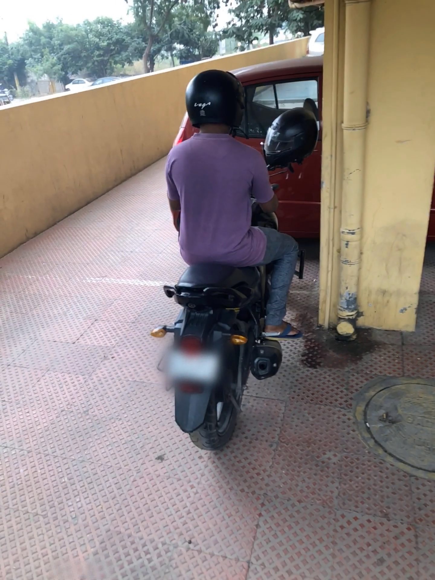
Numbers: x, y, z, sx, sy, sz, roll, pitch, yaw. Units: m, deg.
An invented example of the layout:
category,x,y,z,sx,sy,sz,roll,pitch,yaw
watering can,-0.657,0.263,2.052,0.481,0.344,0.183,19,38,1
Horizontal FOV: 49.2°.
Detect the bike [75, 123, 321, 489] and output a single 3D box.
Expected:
category,x,y,z,sx,sy,sz,roll,pitch,yaw
bike,0.070,-0.134,2.691,0.852,1.154,1.918,-1,29,9
